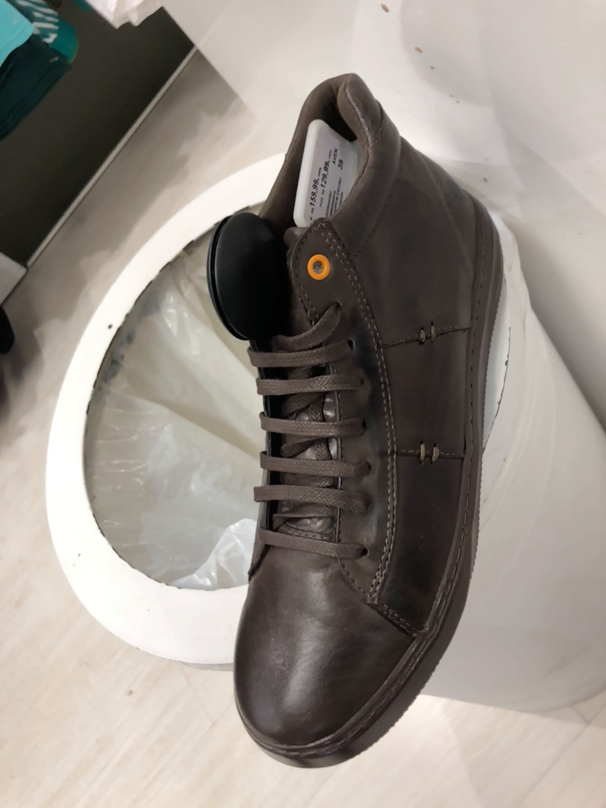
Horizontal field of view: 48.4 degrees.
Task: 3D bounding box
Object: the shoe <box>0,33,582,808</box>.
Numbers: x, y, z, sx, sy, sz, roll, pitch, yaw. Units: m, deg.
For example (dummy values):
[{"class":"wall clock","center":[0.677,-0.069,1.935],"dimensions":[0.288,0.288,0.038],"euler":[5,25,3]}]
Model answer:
[{"class":"shoe","center":[0.012,0.017,0.287],"dimensions":[0.121,0.139,0.270],"euler":[8,73,37]}]
